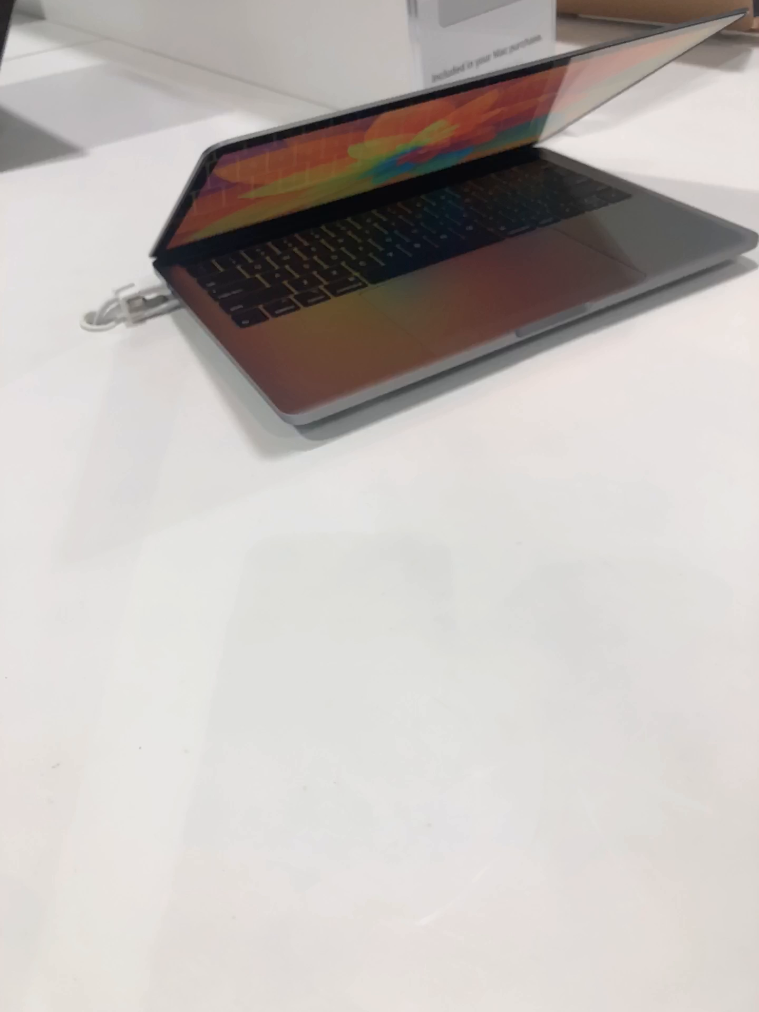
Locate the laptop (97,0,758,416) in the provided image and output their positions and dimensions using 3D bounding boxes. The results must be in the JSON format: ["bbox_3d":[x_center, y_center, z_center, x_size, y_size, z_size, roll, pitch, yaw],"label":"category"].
[{"bbox_3d":[0.033,-0.194,0.465,0.297,0.109,0.211,-24,43,-19],"label":"laptop"}]
